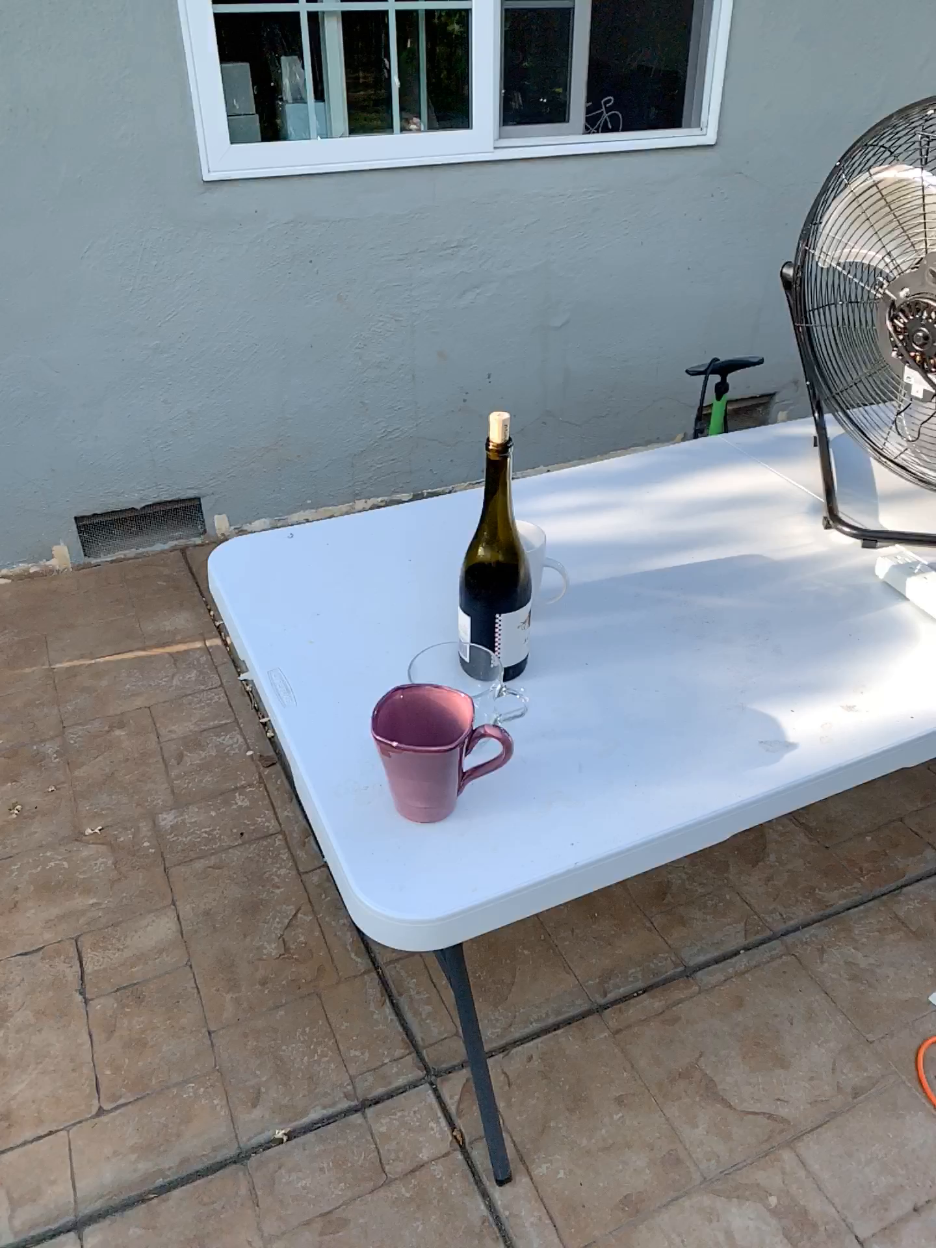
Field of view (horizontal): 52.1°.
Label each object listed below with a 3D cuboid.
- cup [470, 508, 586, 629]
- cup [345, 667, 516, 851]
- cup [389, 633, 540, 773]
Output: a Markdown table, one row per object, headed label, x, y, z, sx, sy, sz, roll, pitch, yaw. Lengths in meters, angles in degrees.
| label | x | y | z | sx | sy | sz | roll | pitch | yaw |
| --- | --- | --- | --- | --- | --- | --- | --- | --- | --- |
| cup | 0.073 | -0.070 | 1.173 | 0.120 | 0.099 | 0.090 | 10 | 35 | 15 |
| cup | -0.032 | 0.125 | 0.904 | 0.130 | 0.109 | 0.100 | 10 | 35 | 15 |
| cup | -0.002 | 0.080 | 1.003 | 0.130 | 0.080 | 0.100 | 10 | 35 | 15 |
